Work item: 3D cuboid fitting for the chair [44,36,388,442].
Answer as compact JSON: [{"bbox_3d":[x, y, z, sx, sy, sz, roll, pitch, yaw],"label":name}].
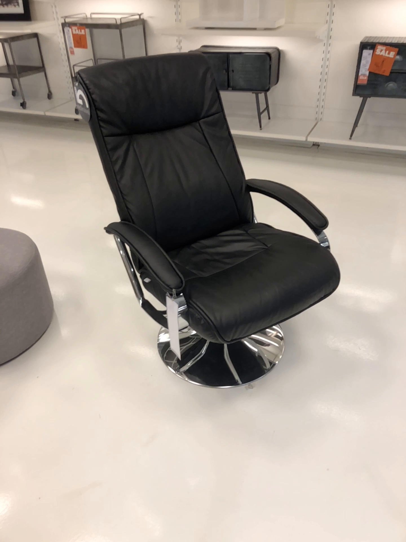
[{"bbox_3d":[0.038,-0.171,1.658,0.752,1.131,0.723,-25,40,-30],"label":"chair"}]
